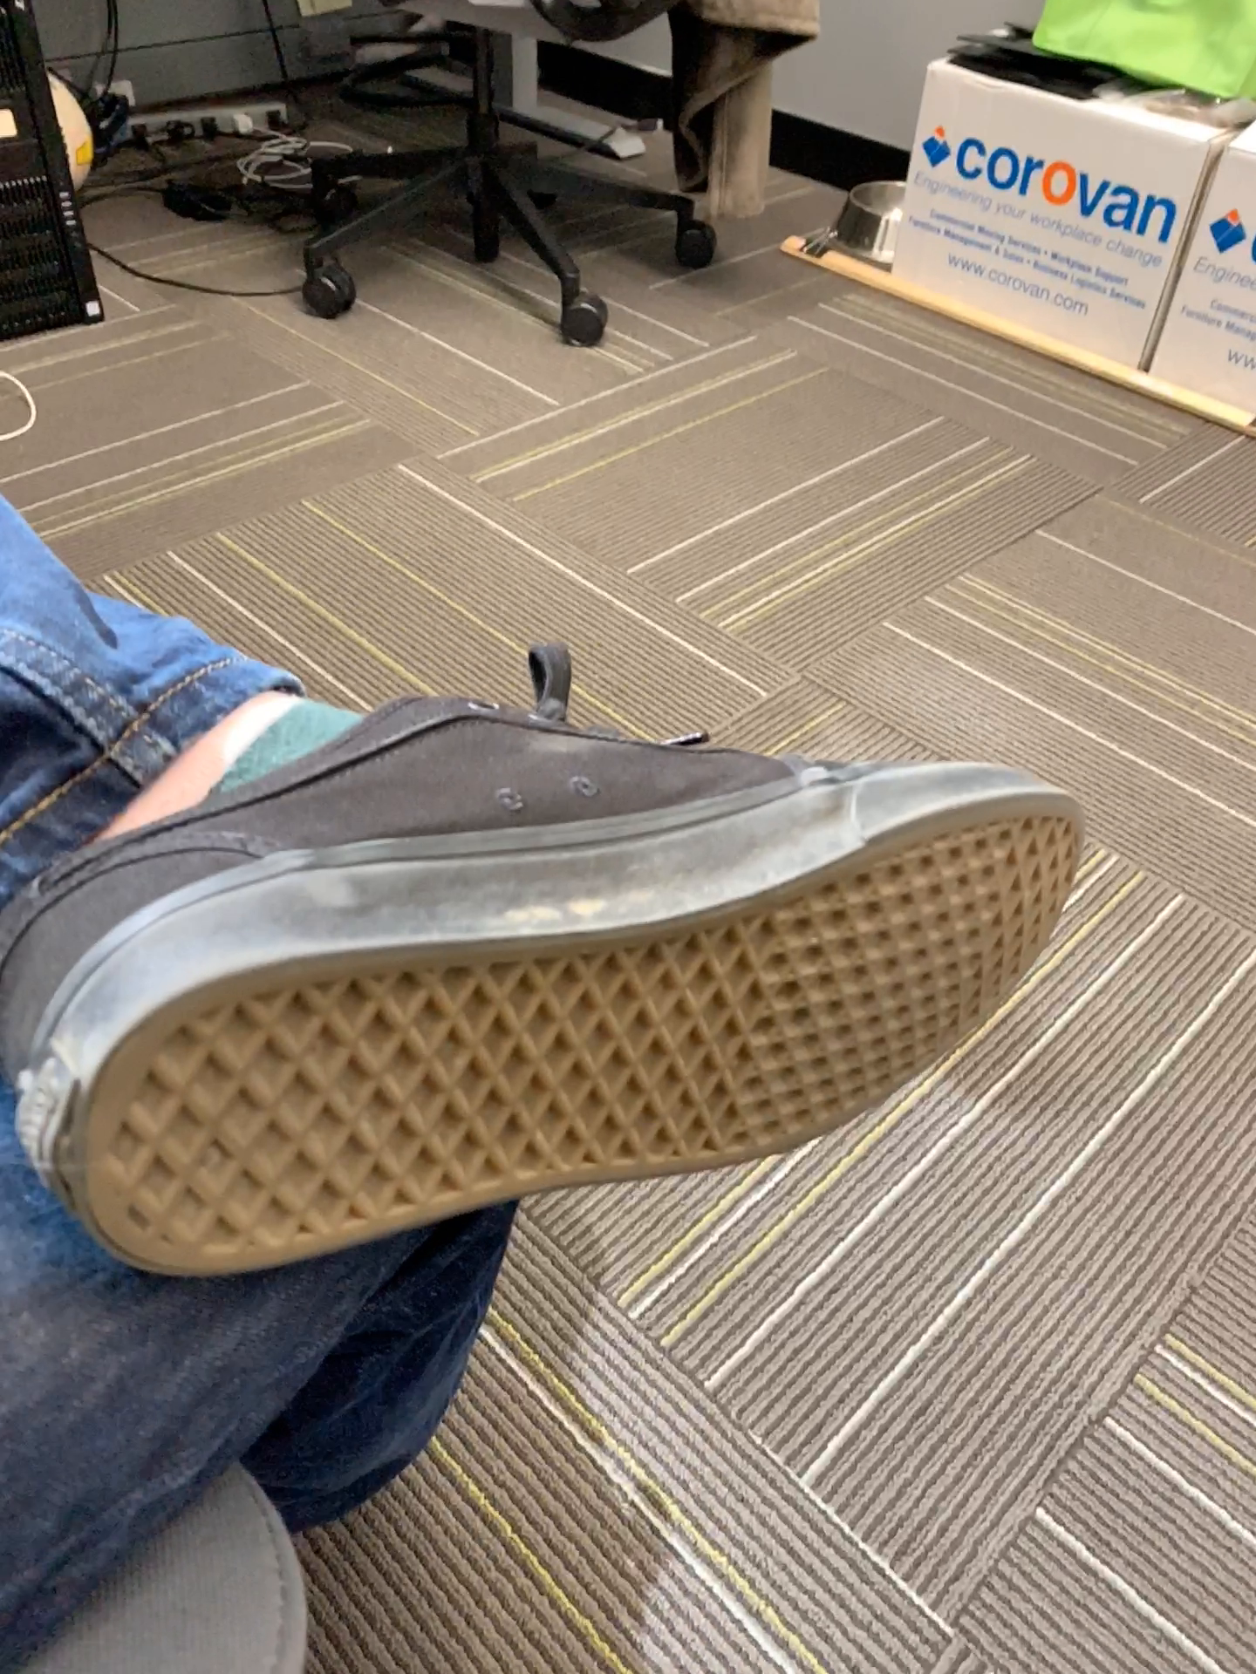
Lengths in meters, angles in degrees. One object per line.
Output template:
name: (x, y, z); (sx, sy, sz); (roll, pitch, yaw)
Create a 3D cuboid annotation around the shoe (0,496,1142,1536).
shoe: (-0.022, 0.019, 0.332); (0.260, 0.119, 0.135); (-22, 41, -25)
